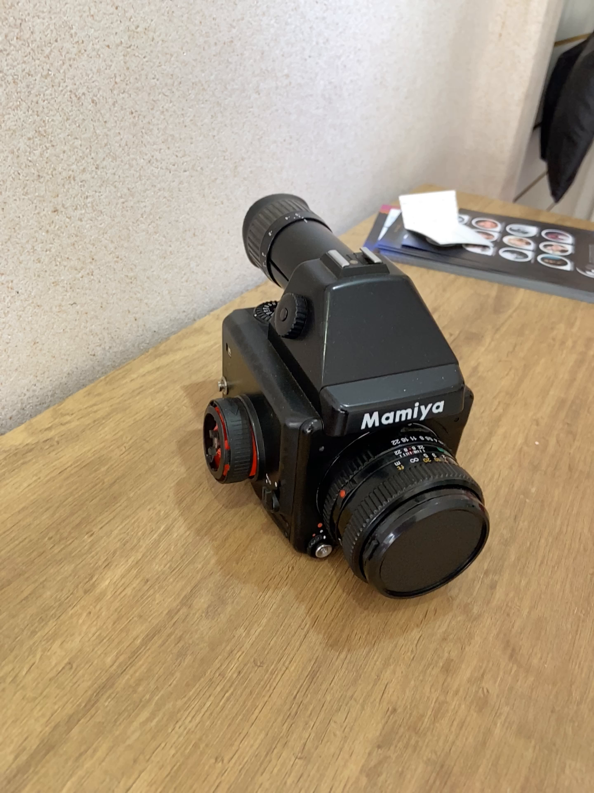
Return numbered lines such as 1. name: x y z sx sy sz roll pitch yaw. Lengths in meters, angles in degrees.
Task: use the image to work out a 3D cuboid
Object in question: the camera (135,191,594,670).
1. camera: 0.007 -0.010 0.312 0.120 0.109 0.221 -12 39 -21
